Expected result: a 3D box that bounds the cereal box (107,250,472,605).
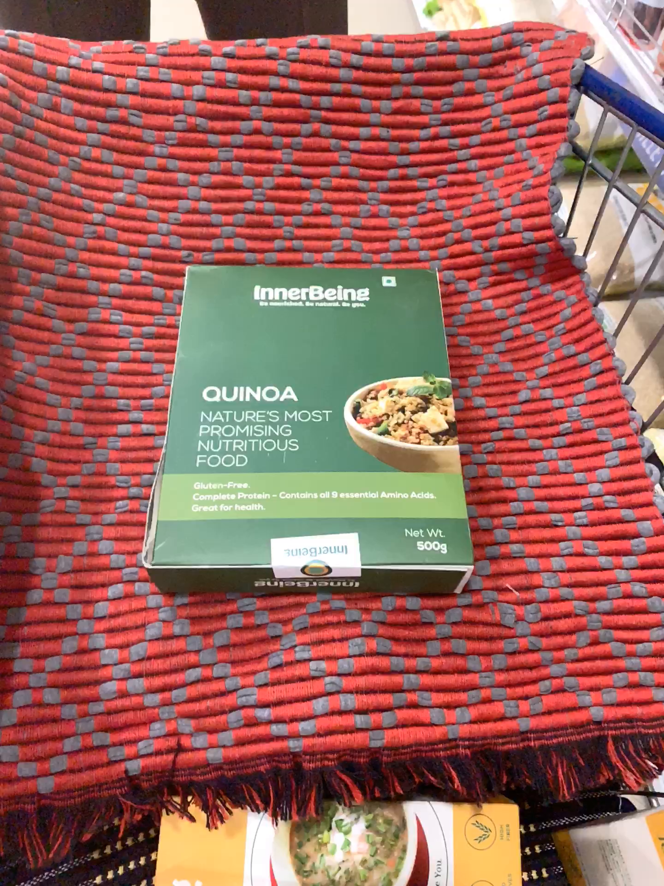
[{"bbox_3d":[-0.018,-0.015,0.342,0.150,0.040,0.180,-1,61,0],"label":"cereal box"}]
